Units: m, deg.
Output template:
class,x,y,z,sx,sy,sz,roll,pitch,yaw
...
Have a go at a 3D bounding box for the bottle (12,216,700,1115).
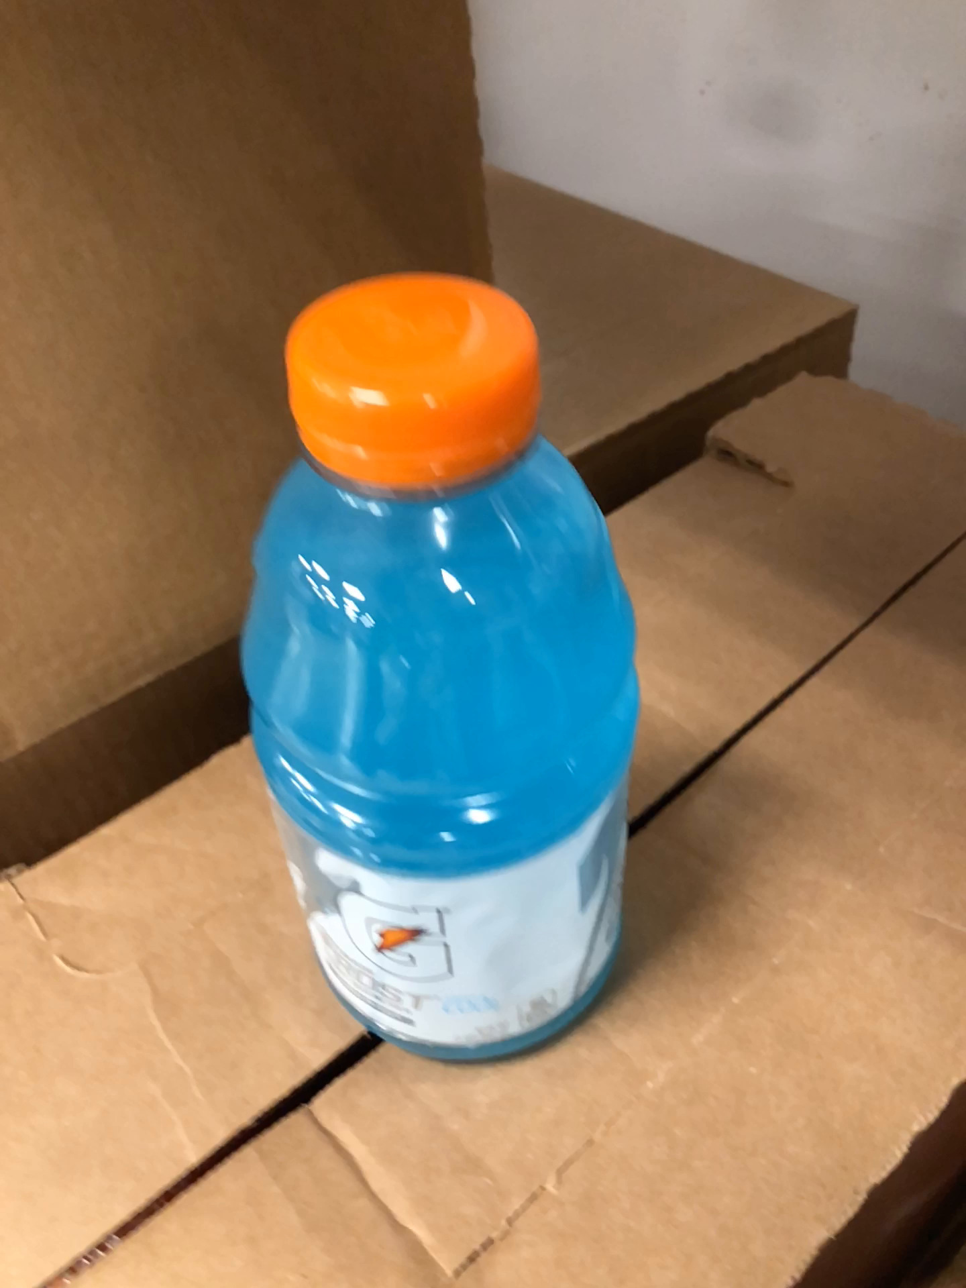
class,x,y,z,sx,sy,sz,roll,pitch,yaw
bottle,-0.011,0.015,0.266,0.100,0.199,0.090,10,44,16
